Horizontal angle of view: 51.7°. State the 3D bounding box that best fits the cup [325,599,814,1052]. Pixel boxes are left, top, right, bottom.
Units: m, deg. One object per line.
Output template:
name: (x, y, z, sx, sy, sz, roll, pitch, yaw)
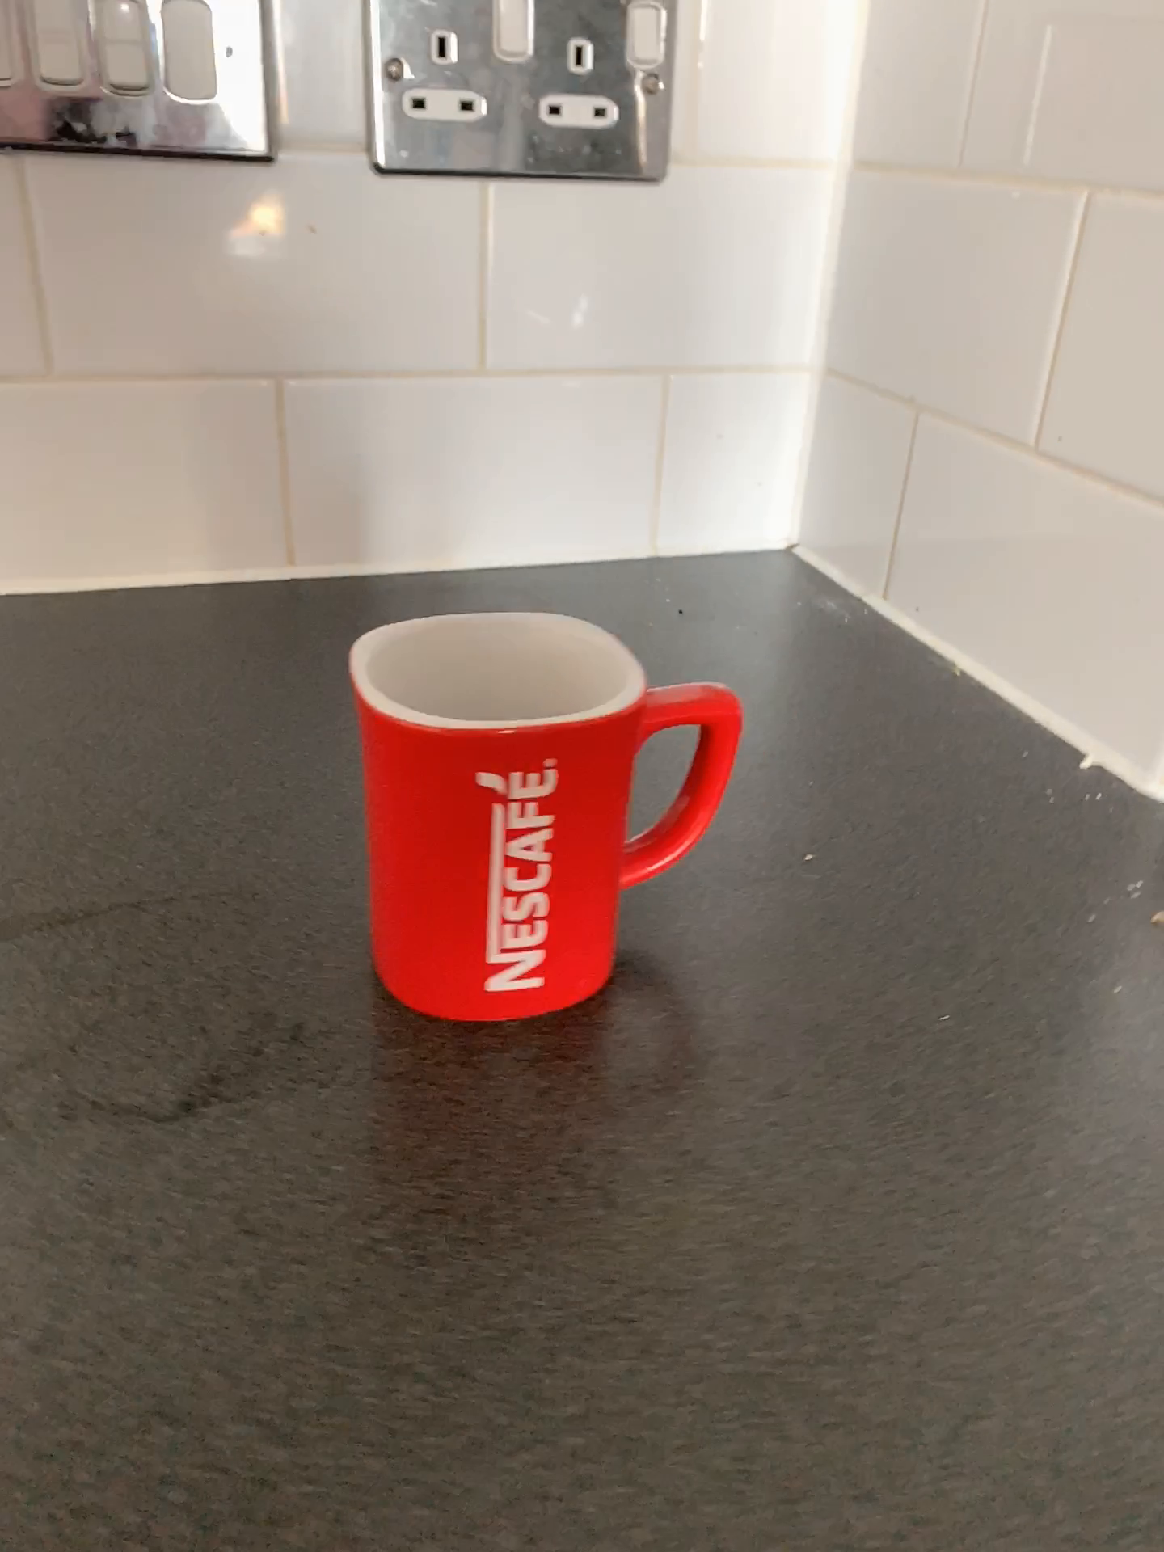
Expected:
cup: (-0.008, 0.009, 0.327, 0.112, 0.091, 0.067, -5, 28, -14)
